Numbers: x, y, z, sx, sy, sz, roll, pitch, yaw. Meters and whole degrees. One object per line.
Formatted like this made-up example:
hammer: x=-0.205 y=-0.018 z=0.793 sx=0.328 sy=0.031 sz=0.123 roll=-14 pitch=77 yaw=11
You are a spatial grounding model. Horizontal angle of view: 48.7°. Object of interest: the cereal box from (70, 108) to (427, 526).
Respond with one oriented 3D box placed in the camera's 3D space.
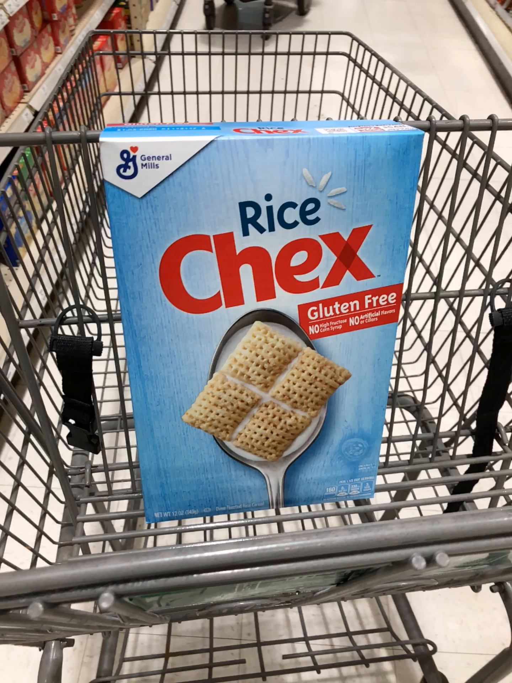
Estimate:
cereal box: x=-0.004 y=-0.007 z=0.408 sx=0.200 sy=0.290 sz=0.060 roll=-4 pitch=29 yaw=-8
